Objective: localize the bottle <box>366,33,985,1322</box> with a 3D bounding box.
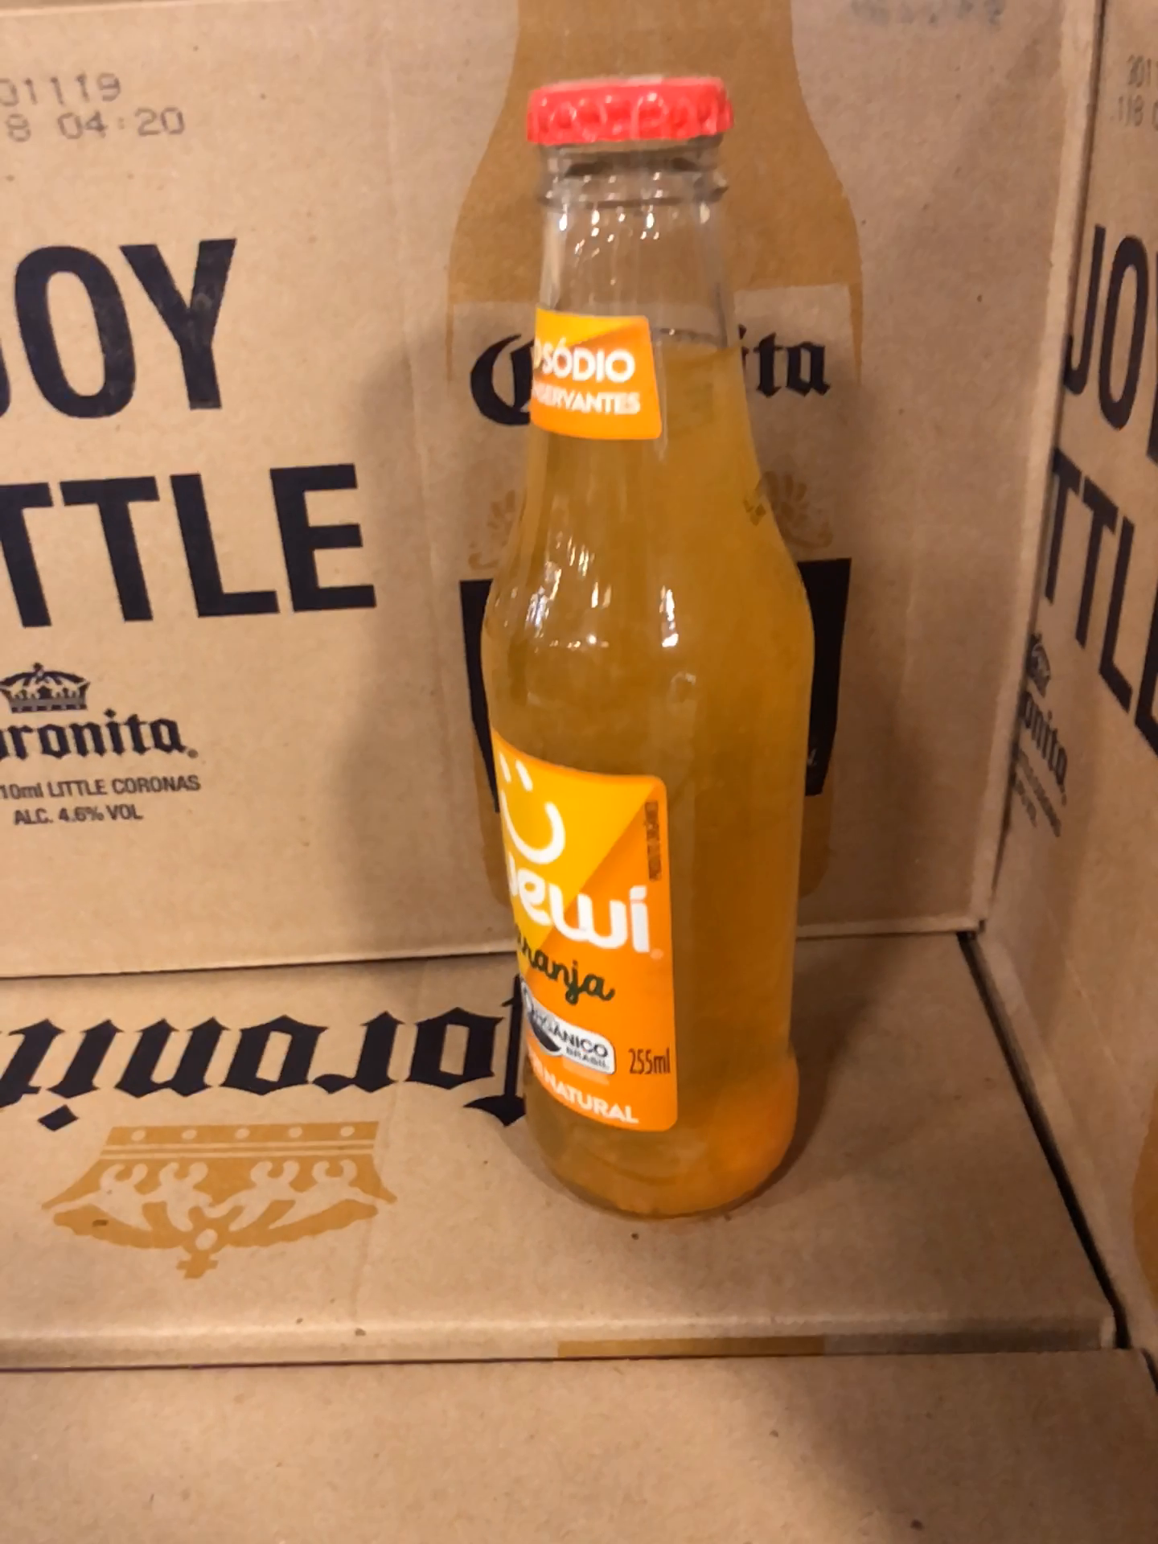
[{"bbox_3d":[0.016,-0.009,0.228,0.060,0.208,0.060,-2,29,1],"label":"bottle"}]
